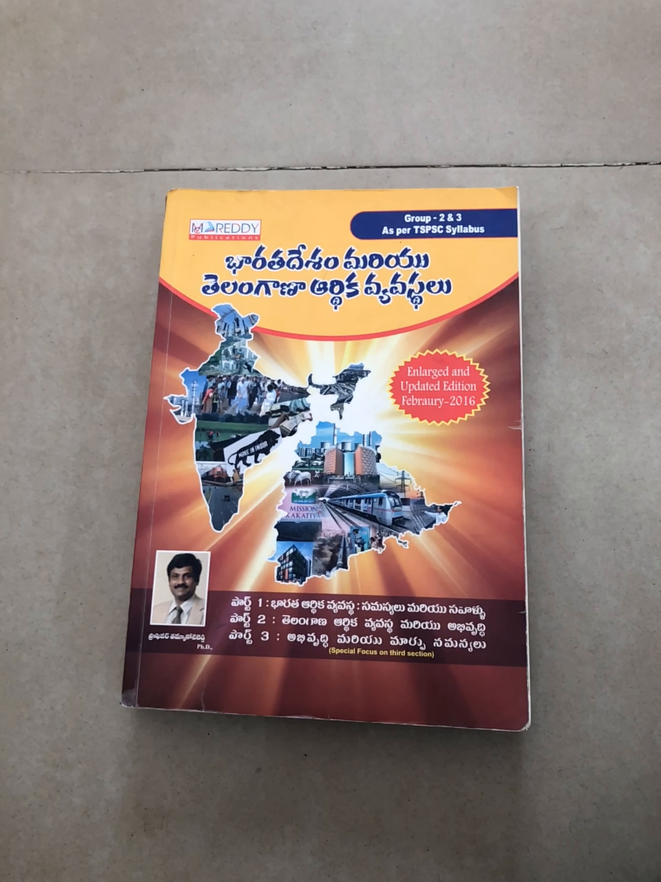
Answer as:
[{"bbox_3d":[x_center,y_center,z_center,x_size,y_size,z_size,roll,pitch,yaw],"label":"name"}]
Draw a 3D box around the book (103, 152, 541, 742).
[{"bbox_3d":[-0.001,-0.008,0.362,0.190,0.030,0.280,1,77,4],"label":"book"}]
